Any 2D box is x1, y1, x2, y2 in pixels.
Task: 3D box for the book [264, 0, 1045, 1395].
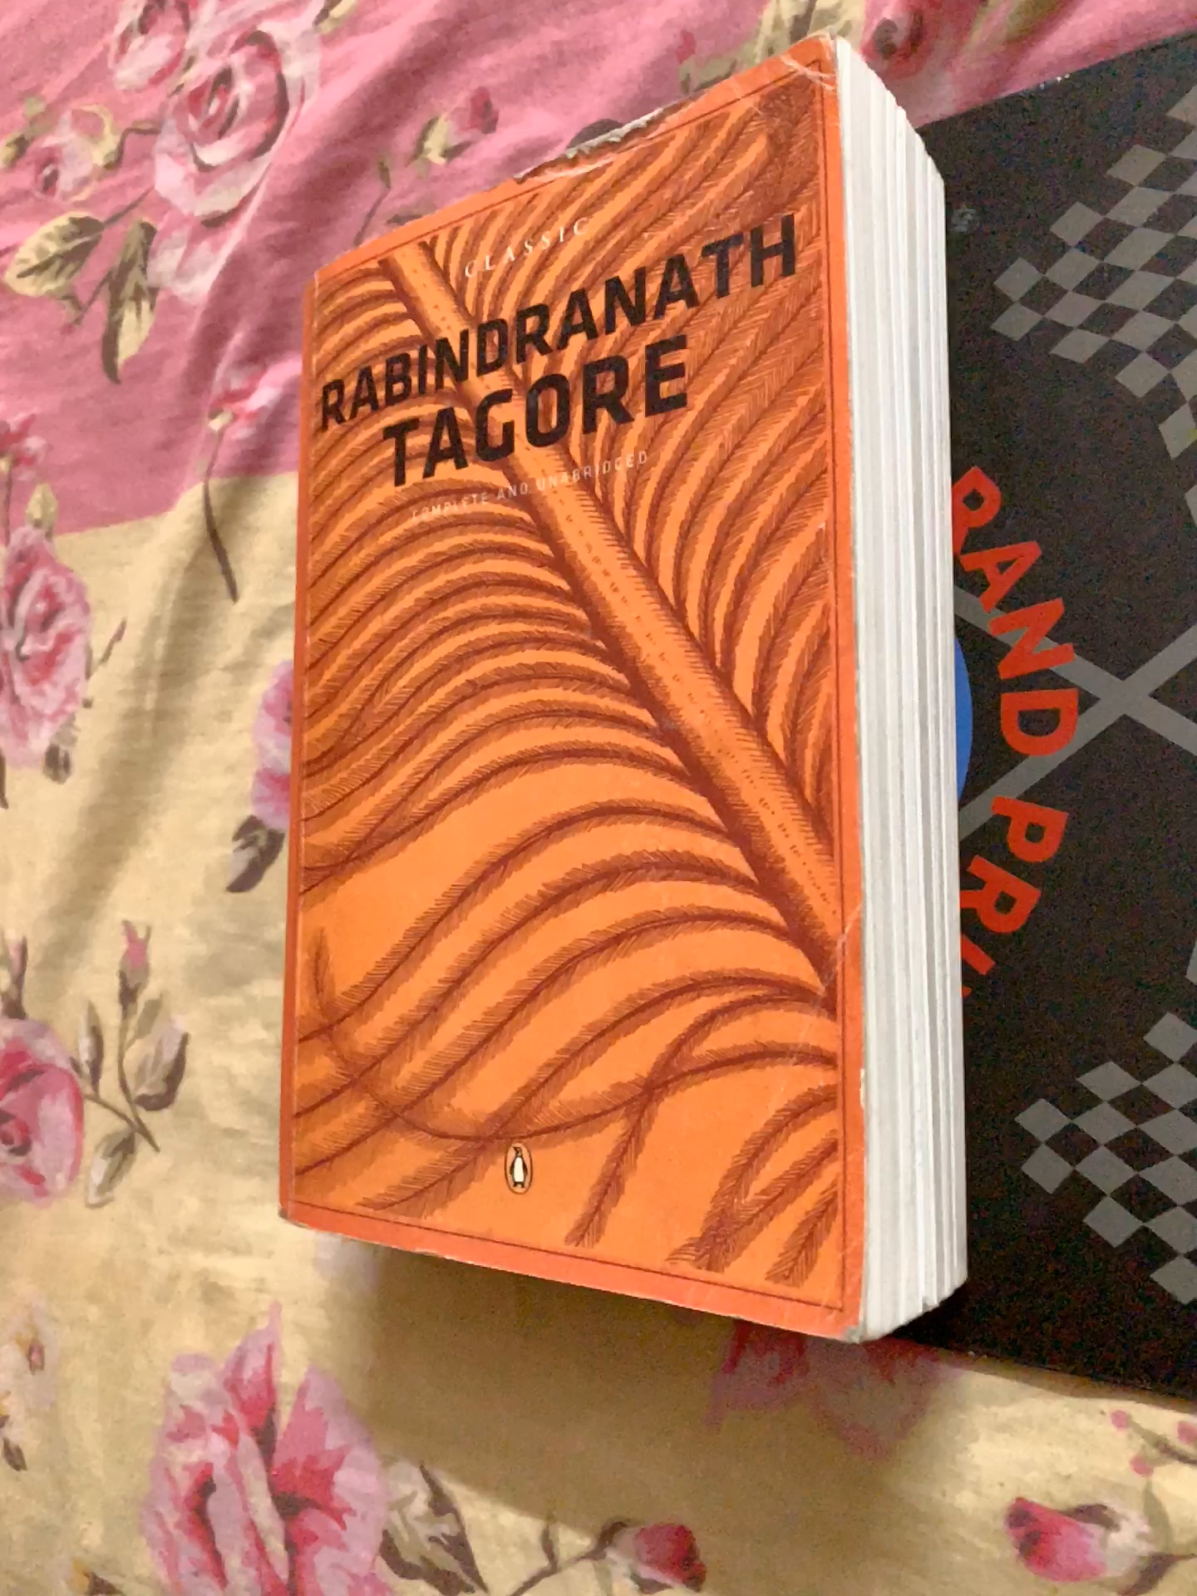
[{"bbox_3d":[0.008,-0.016,0.242,0.131,0.060,0.210,-5,80,34],"label":"book"}]
